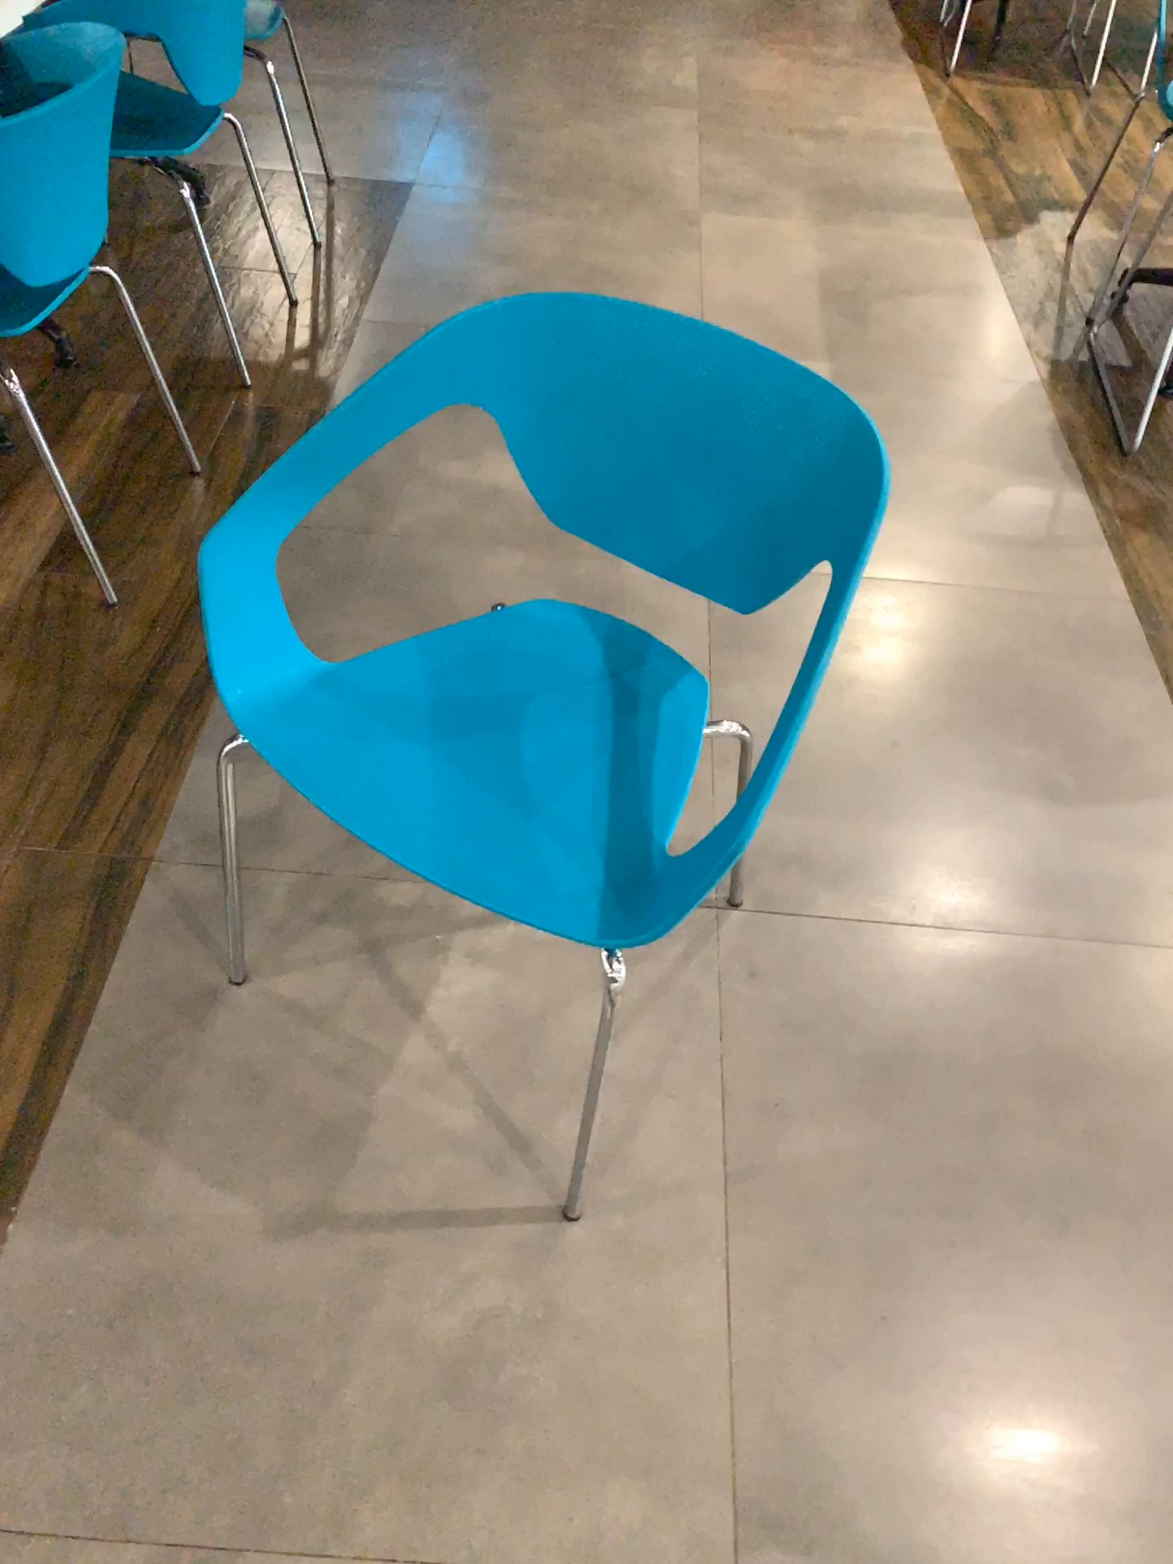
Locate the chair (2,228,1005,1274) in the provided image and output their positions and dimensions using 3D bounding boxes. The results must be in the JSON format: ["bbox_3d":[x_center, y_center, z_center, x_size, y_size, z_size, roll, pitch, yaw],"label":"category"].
[{"bbox_3d":[-0.066,-0.041,1.272,0.611,0.724,0.594,29,51,21],"label":"chair"}]
